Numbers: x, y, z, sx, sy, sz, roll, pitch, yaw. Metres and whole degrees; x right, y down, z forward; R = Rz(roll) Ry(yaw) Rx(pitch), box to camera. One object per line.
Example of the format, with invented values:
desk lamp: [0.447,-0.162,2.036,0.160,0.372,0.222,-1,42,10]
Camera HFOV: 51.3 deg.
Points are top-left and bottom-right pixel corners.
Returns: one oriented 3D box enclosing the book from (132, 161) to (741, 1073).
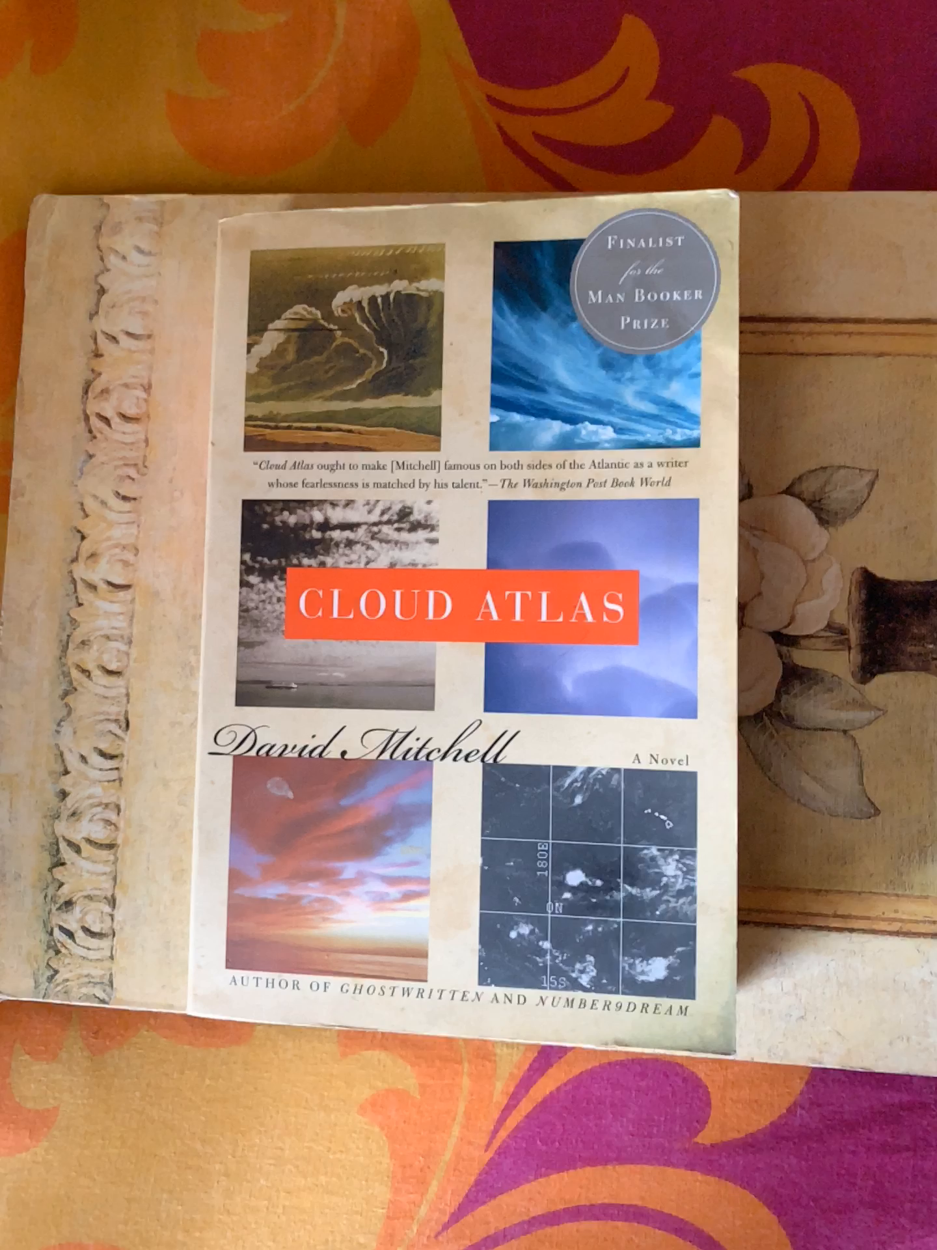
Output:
book: [-0.005,-0.005,0.234,0.130,0.040,0.190,1,86,10]
